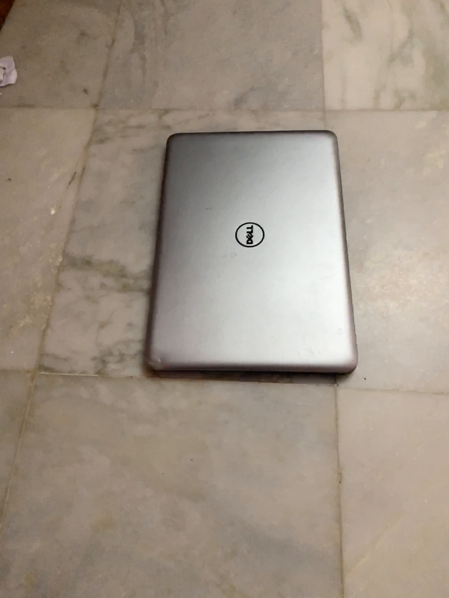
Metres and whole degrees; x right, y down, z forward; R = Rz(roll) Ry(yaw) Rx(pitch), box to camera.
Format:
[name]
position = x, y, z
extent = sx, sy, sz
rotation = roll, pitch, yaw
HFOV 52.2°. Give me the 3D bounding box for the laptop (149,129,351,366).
[laptop]
position = 0.033, -0.085, 0.602
extent = 0.234, 0.001, 0.352
rotation = 0, 67, 3
